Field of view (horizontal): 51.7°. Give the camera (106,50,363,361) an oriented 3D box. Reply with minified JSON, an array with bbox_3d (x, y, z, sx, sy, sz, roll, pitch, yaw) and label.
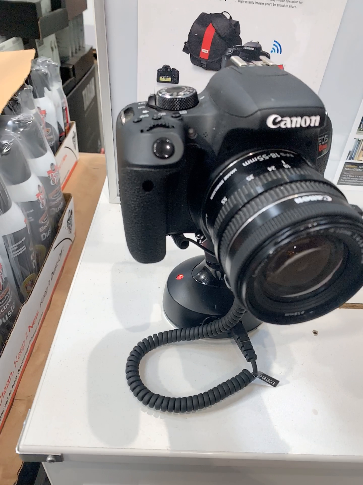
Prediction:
[{"bbox_3d":[0.035,-0.029,0.183,0.134,0.089,0.121,-4,40,-10],"label":"camera"}]
